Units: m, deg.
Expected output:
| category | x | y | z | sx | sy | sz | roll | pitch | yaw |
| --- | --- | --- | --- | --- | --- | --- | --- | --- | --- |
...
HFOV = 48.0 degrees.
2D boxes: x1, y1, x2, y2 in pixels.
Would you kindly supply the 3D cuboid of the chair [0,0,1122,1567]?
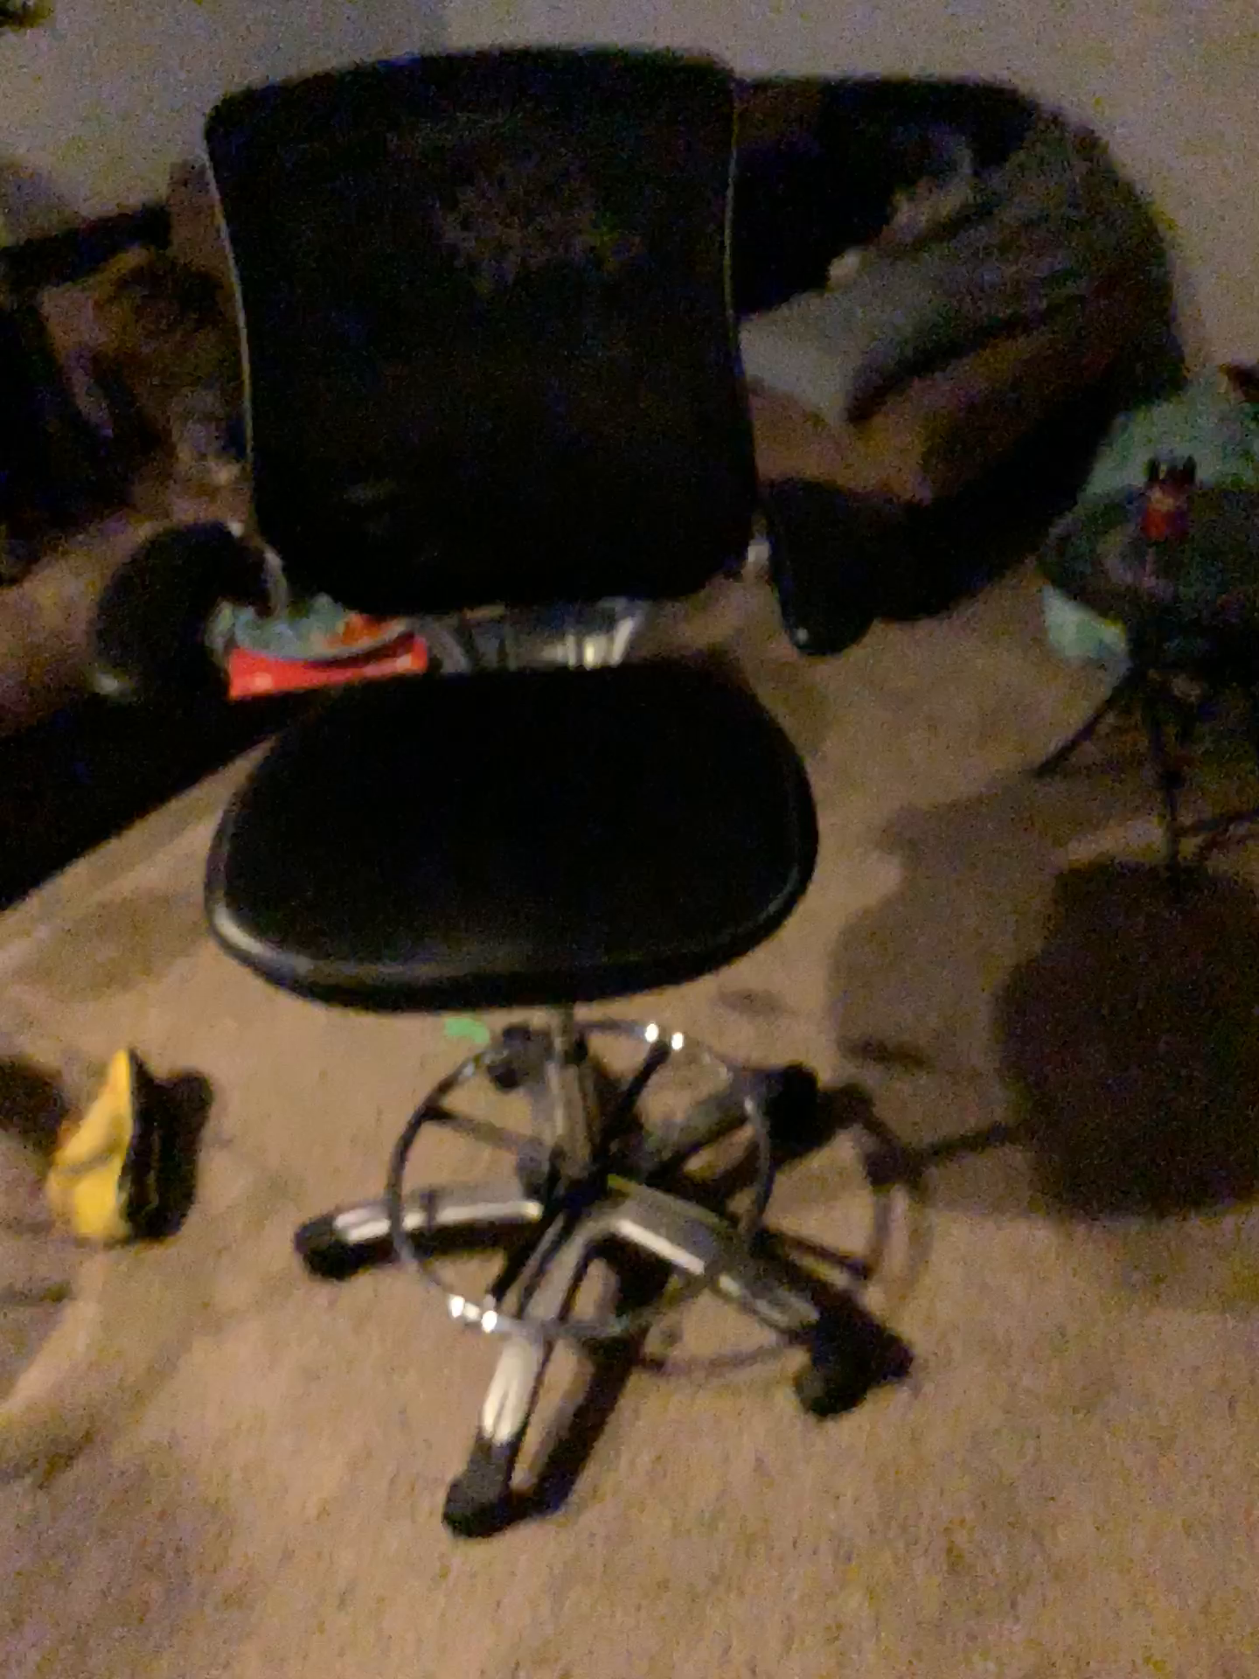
| category | x | y | z | sx | sy | sz | roll | pitch | yaw |
| --- | --- | --- | --- | --- | --- | --- | --- | --- | --- |
| chair | -0.092 | -0.063 | 1.390 | 0.760 | 1.170 | 0.930 | -4 | 36 | 4 |
